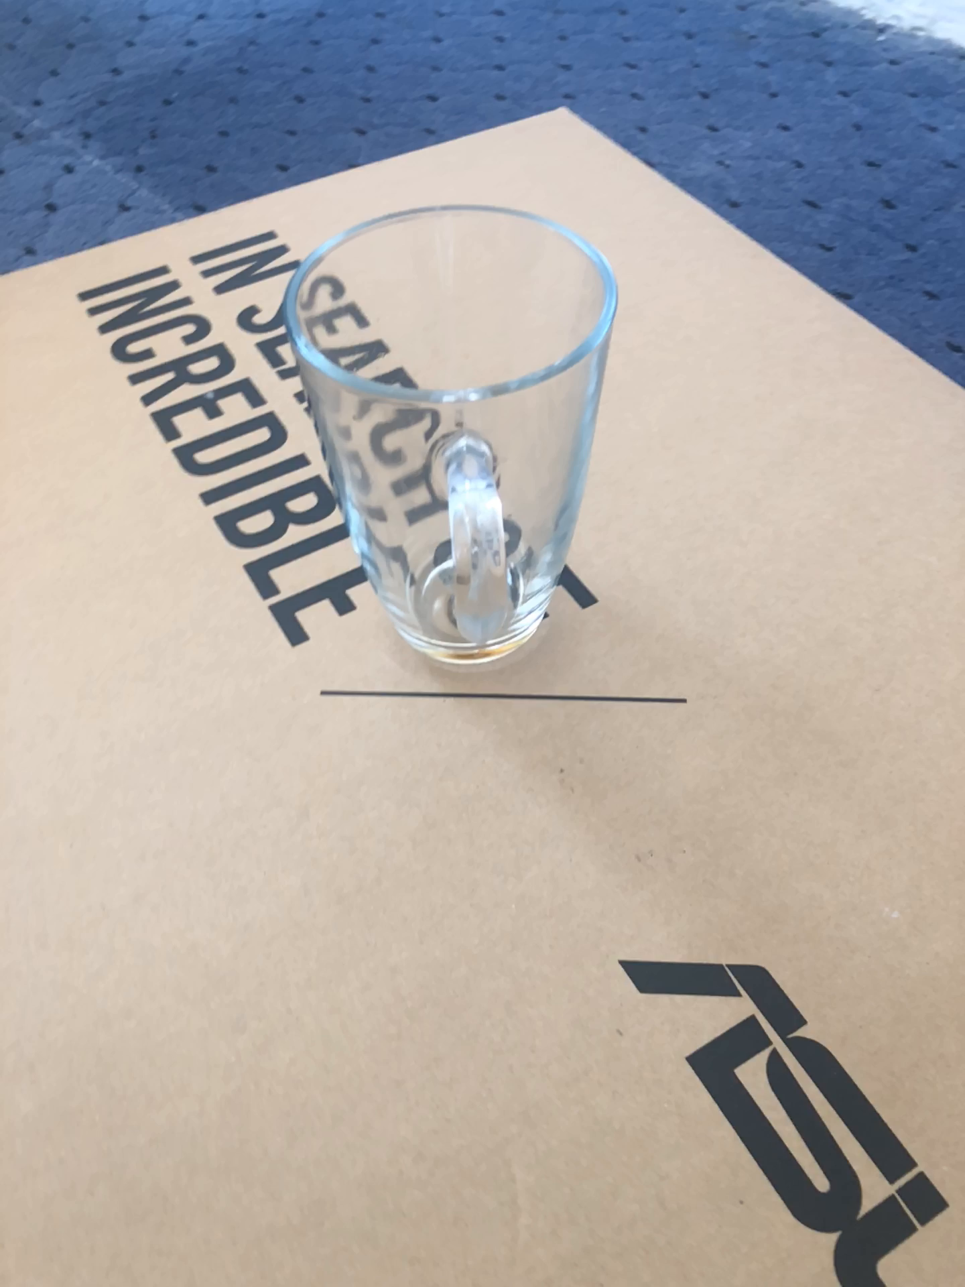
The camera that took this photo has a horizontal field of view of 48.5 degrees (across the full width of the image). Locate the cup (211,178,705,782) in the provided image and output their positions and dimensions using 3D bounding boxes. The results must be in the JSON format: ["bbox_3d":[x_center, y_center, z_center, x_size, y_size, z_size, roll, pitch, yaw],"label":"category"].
[{"bbox_3d":[-0.011,-0.044,0.276,0.080,0.090,0.110,-15,52,-13],"label":"cup"}]
